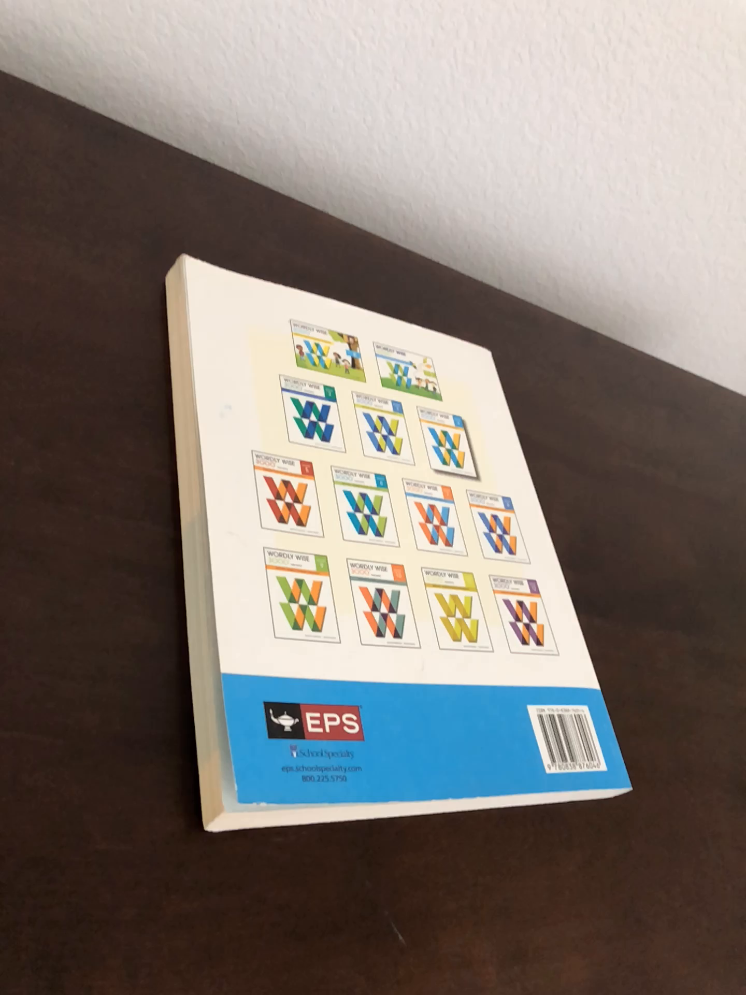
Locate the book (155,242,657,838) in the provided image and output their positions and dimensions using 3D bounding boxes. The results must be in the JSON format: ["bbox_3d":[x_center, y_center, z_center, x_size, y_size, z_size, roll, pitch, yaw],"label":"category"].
[{"bbox_3d":[0.010,0.012,0.408,0.221,0.031,0.271,9,55,-31],"label":"book"}]
